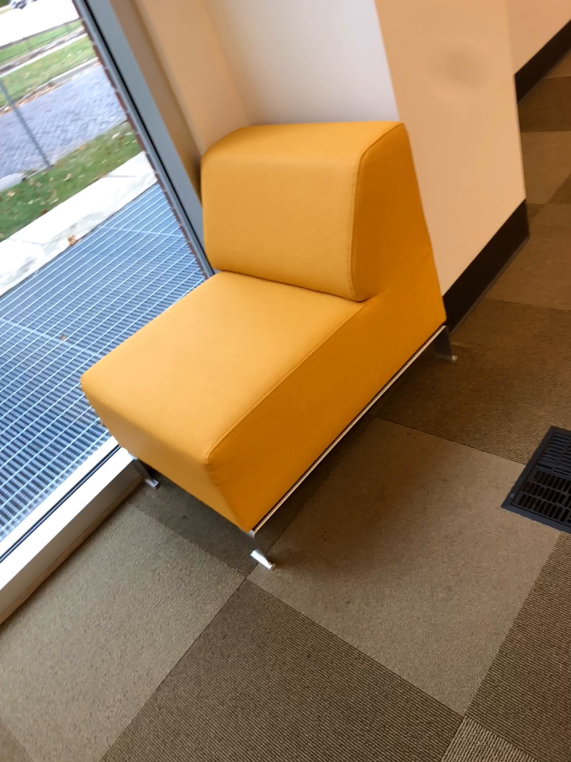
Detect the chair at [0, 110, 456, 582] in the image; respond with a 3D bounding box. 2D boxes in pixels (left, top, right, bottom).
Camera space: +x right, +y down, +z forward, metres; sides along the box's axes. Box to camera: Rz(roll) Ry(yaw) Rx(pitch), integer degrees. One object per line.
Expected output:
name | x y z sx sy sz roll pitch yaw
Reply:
chair | -0.119 -0.149 1.707 0.665 0.759 0.872 20 55 43
